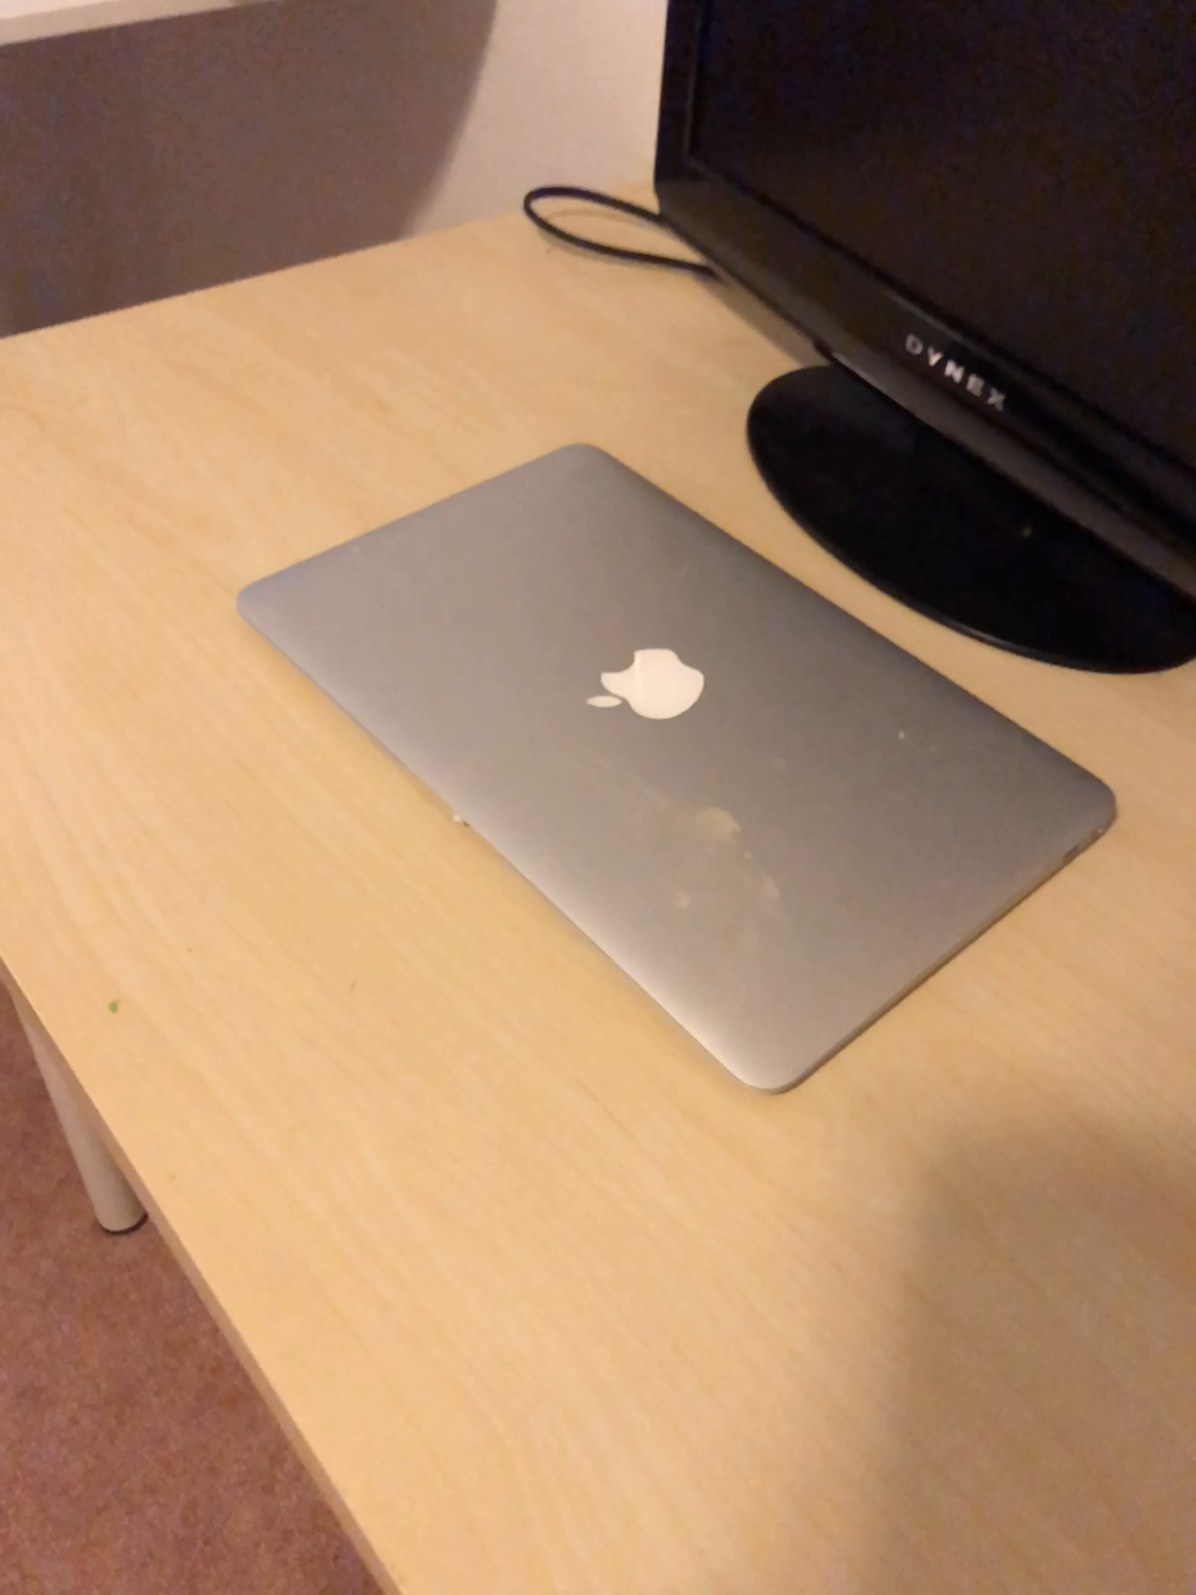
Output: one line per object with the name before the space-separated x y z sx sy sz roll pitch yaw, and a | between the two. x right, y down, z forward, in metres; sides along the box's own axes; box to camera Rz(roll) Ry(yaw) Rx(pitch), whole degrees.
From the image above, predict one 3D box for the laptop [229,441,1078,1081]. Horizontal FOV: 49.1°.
laptop | 0.014 -0.040 0.501 0.181 0.005 0.279 -33 58 -29
